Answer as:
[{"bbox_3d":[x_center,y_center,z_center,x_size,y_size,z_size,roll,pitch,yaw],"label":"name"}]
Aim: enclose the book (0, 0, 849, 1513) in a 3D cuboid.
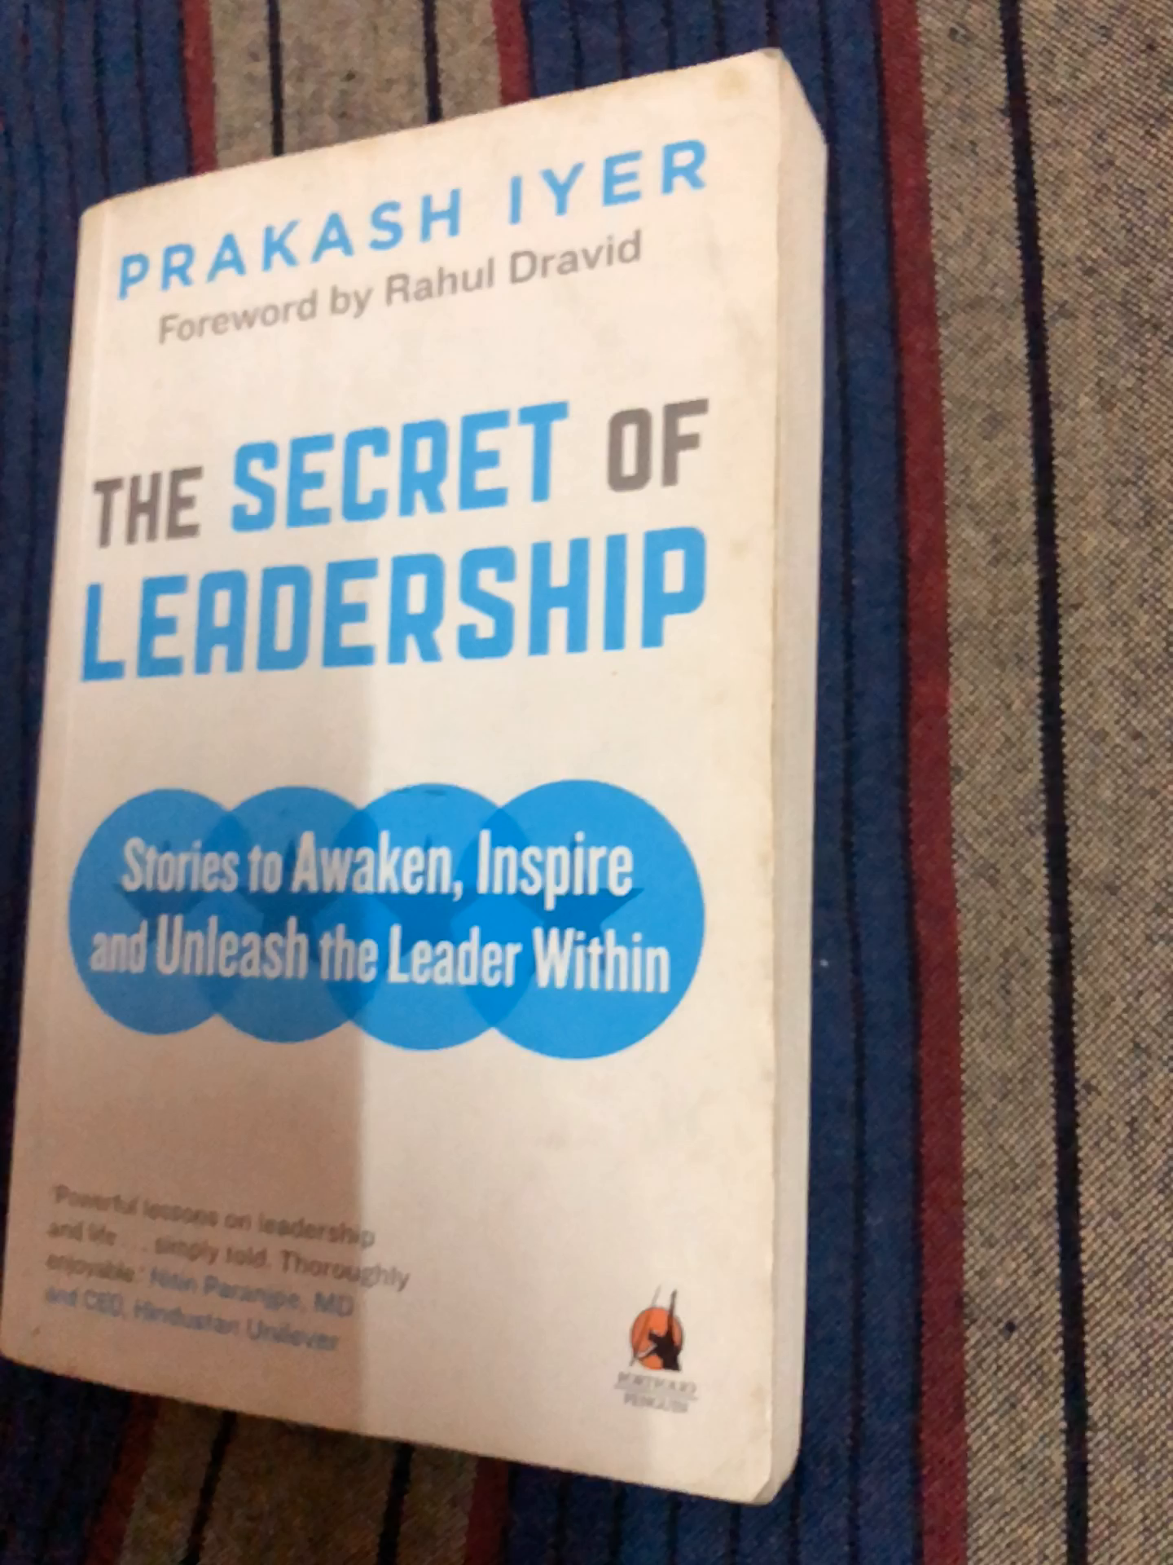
[{"bbox_3d":[-0.036,-0.013,0.194,0.140,0.030,0.190,-1,82,20],"label":"book"}]
